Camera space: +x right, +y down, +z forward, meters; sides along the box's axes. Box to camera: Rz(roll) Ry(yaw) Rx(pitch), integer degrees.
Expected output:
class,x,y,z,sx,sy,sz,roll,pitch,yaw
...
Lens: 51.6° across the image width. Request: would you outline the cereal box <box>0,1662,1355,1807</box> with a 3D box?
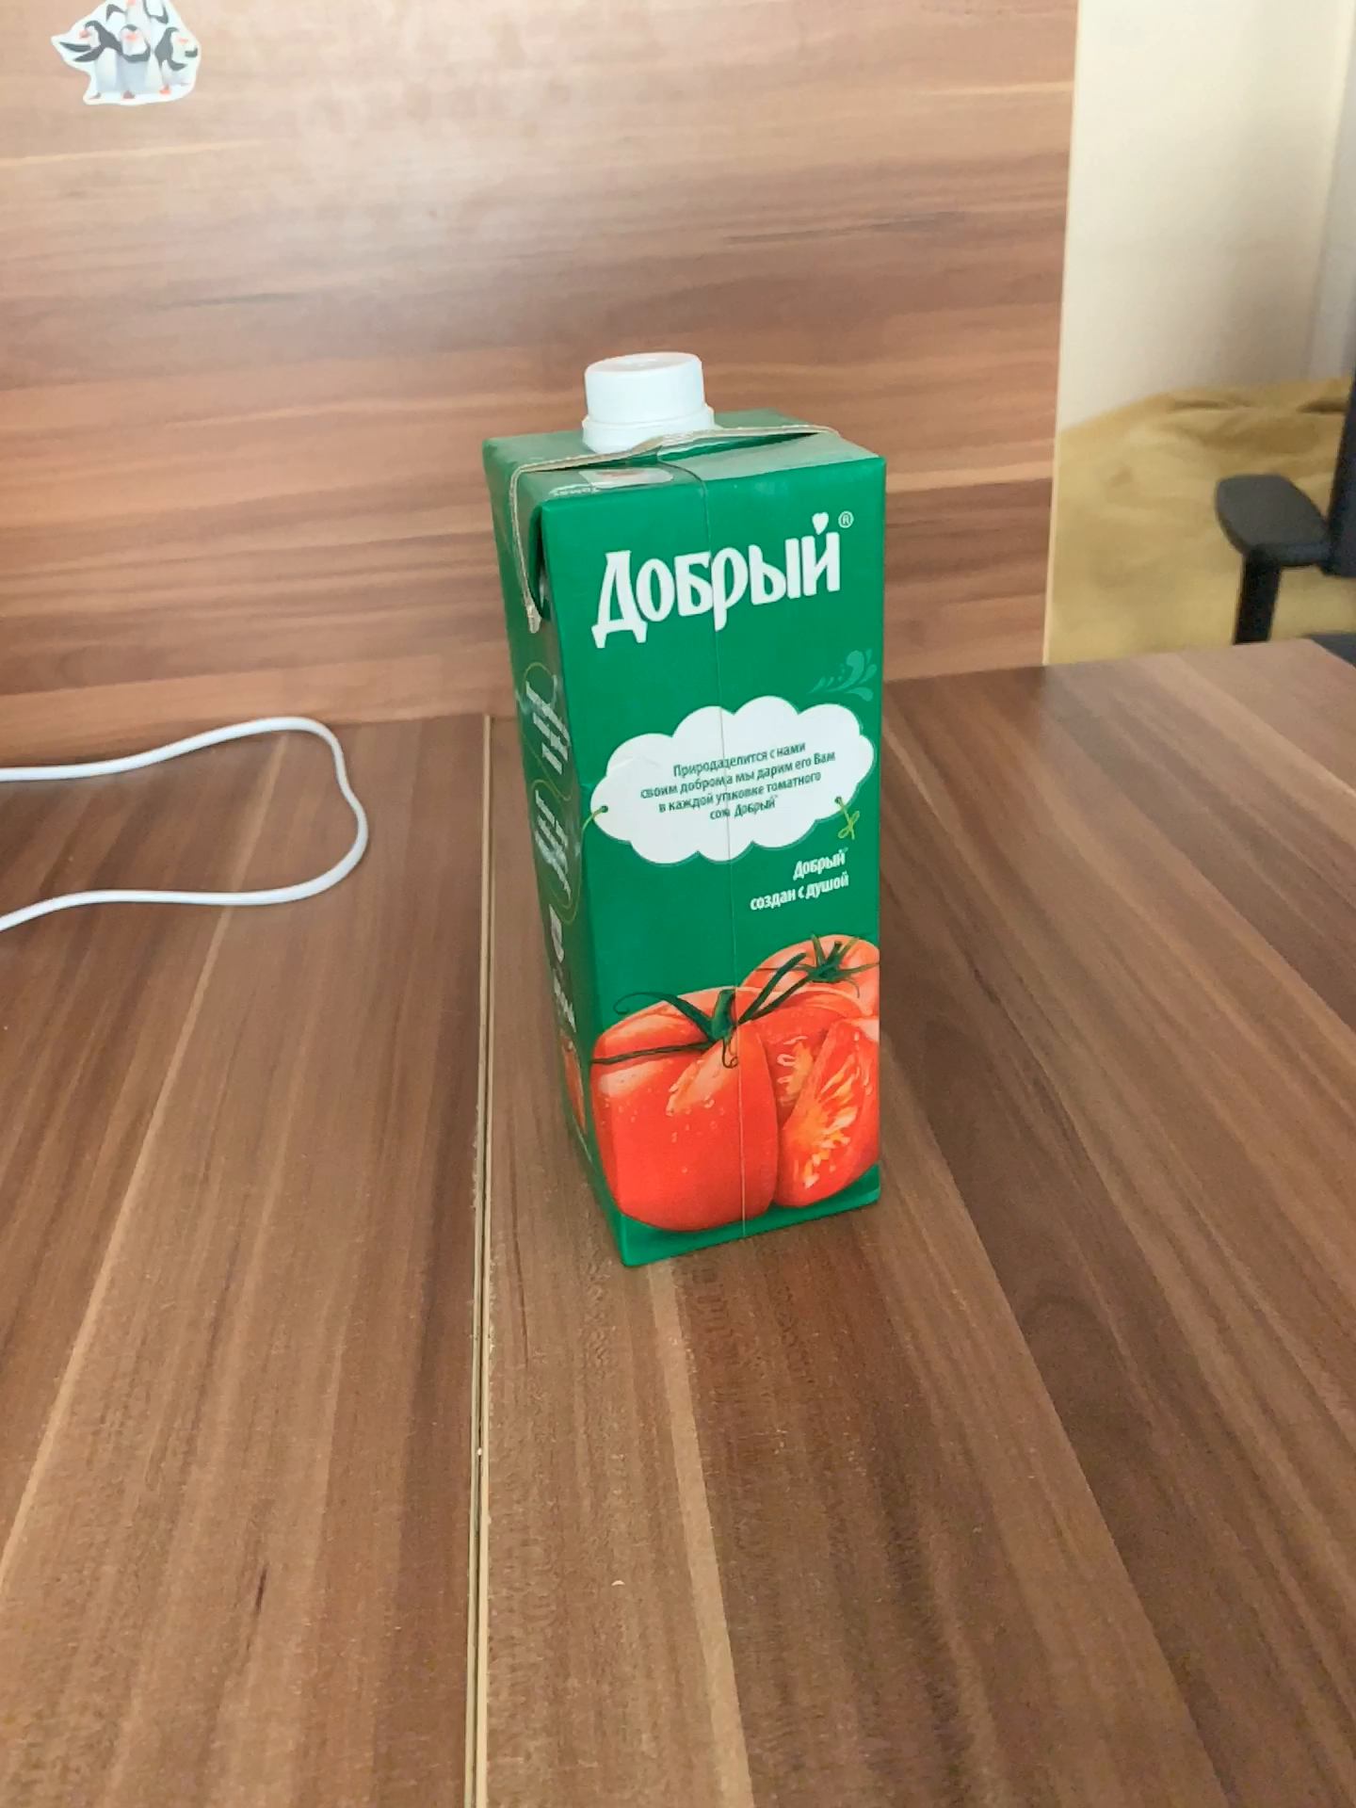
class,x,y,z,sx,sy,sz,roll,pitch,yaw
cereal box,0.087,0.747,0.154,0.612,0.836,0.591,23,39,39
